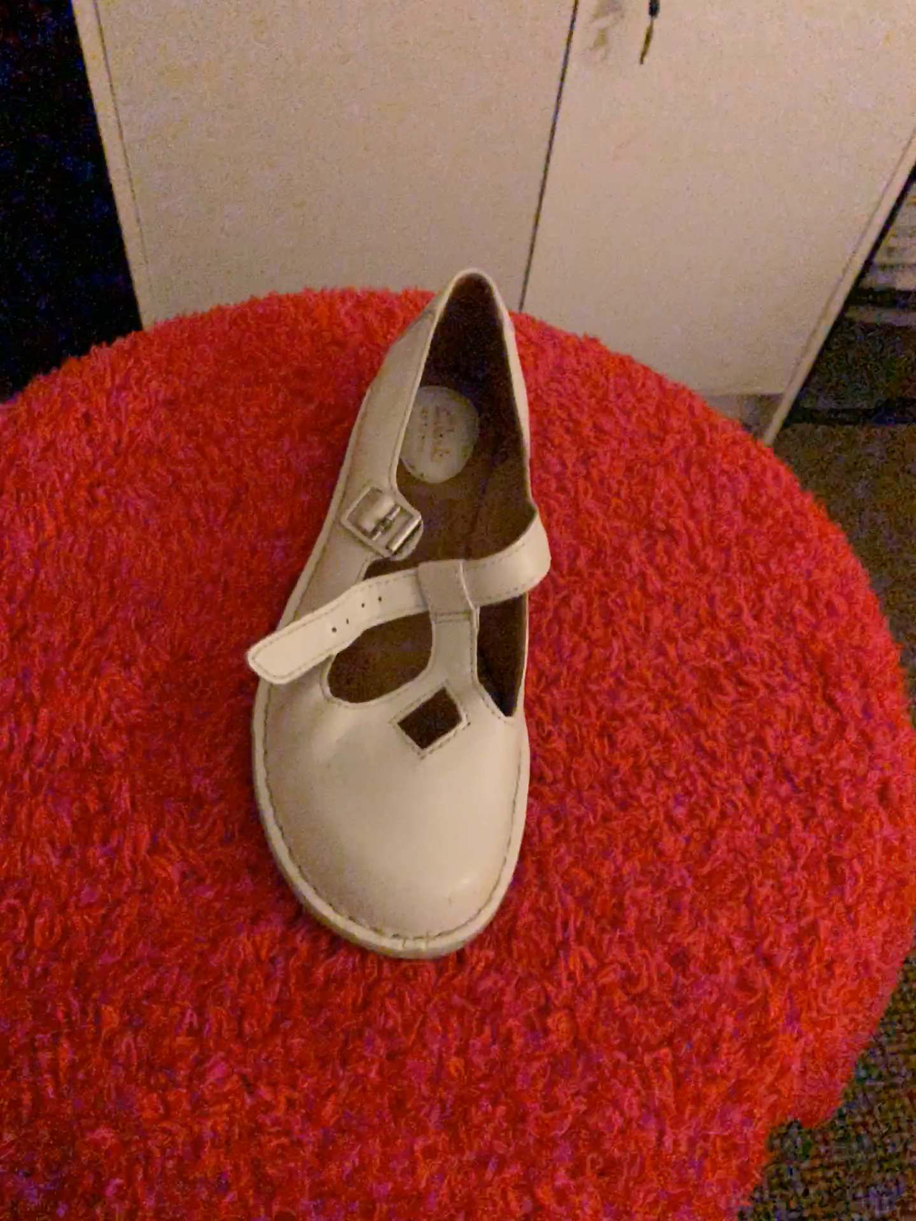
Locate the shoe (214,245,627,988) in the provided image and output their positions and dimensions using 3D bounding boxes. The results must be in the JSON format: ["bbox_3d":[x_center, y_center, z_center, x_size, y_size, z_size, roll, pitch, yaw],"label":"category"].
[{"bbox_3d":[-0.012,-0.013,0.342,0.100,0.089,0.262,3,54,-4],"label":"shoe"}]
